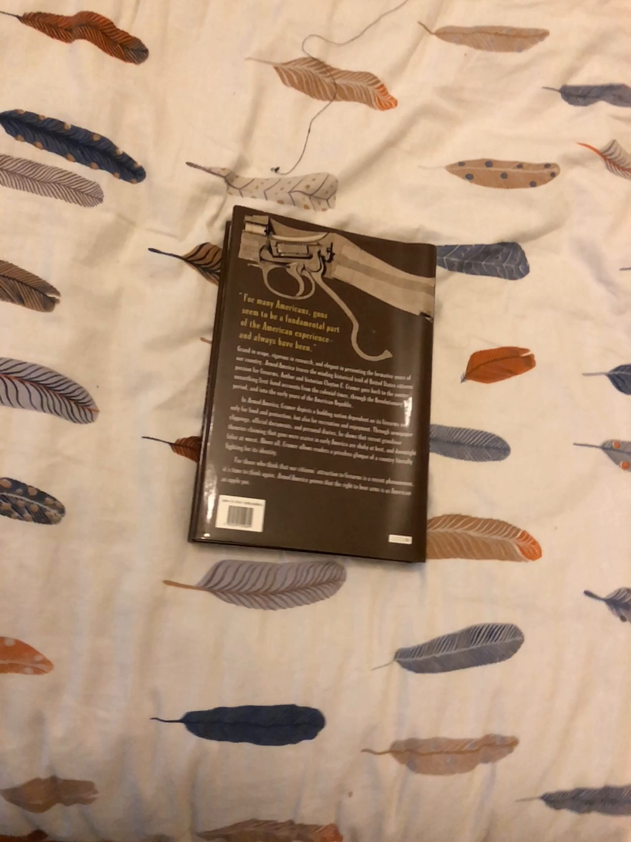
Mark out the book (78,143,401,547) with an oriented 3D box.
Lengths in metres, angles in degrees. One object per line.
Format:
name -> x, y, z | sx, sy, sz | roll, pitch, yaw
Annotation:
book -> -0.042, -0.048, 0.462 | 0.180, 0.030, 0.240 | 9, 77, -13
